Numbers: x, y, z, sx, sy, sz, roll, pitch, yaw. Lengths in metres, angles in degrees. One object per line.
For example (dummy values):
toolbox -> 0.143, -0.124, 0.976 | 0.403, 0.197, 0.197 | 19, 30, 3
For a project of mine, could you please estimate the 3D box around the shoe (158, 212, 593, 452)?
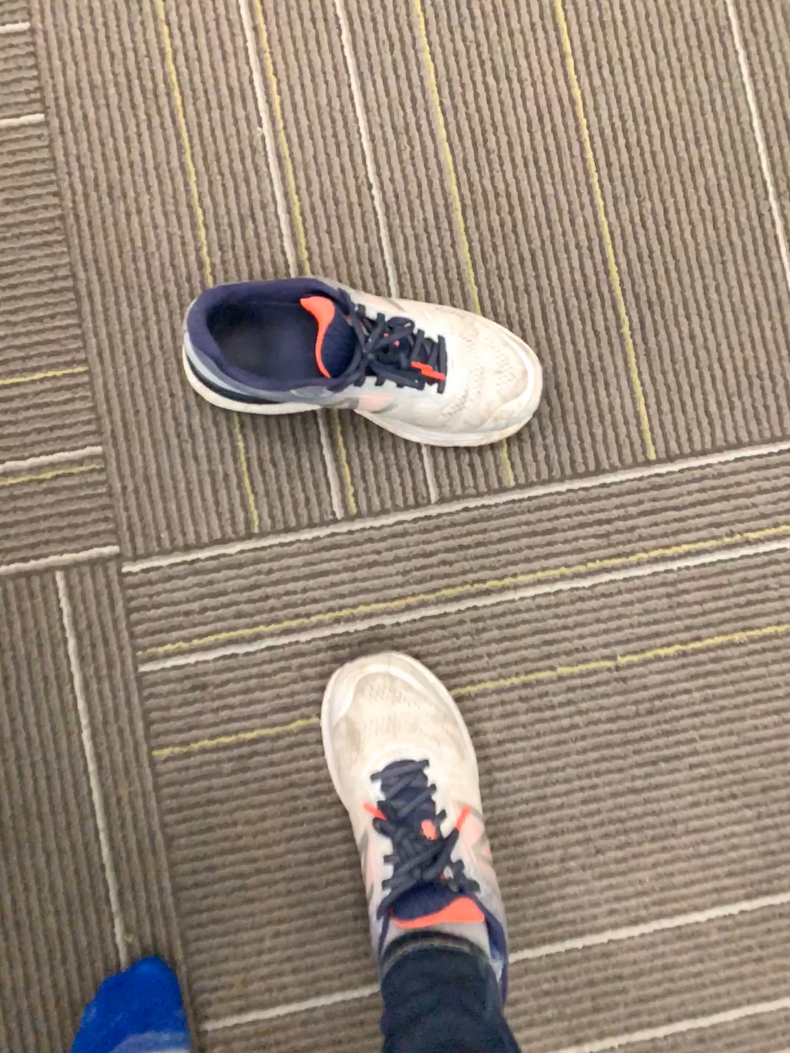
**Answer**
shoe -> -0.012, -0.125, 0.554 | 0.260, 0.120, 0.110 | 4, 86, -2
